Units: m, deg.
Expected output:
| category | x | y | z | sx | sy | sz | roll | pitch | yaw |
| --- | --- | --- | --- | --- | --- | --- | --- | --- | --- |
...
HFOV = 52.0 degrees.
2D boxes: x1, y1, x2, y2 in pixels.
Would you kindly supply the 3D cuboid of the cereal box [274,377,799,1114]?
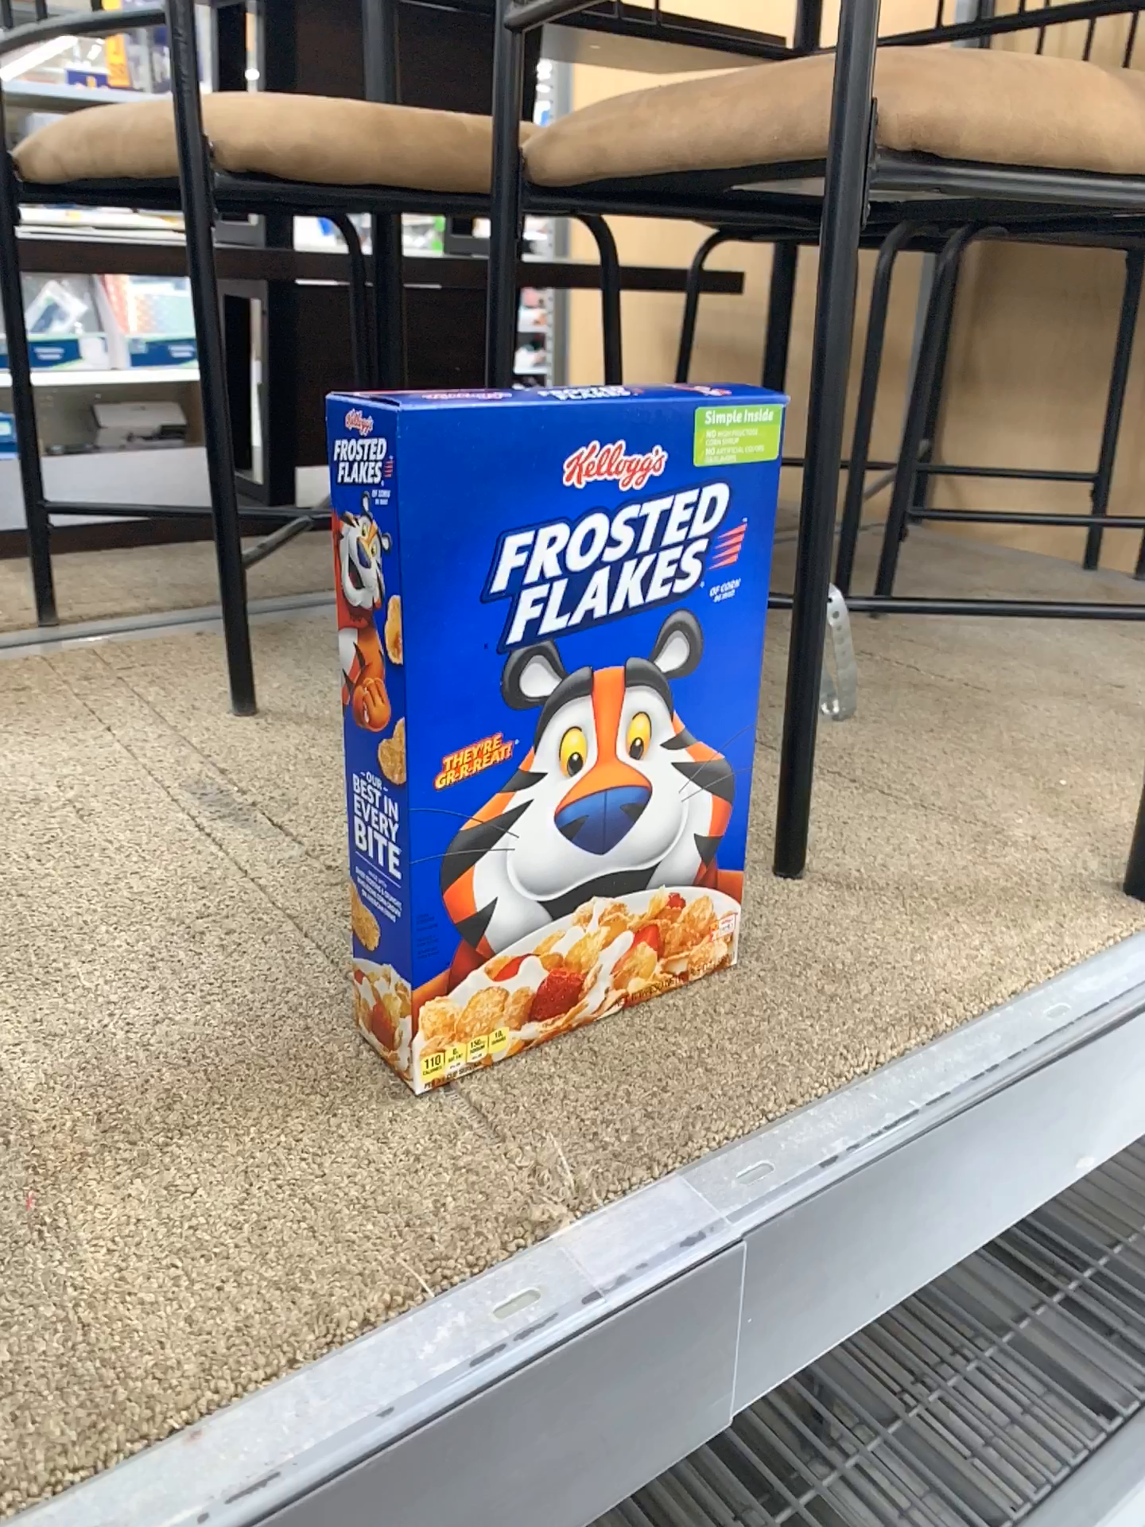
| category | x | y | z | sx | sy | sz | roll | pitch | yaw |
| --- | --- | --- | --- | --- | --- | --- | --- | --- | --- |
| cereal box | -0.011 | -0.018 | 0.530 | 0.210 | 0.289 | 0.070 | -14 | 26 | -34 |
